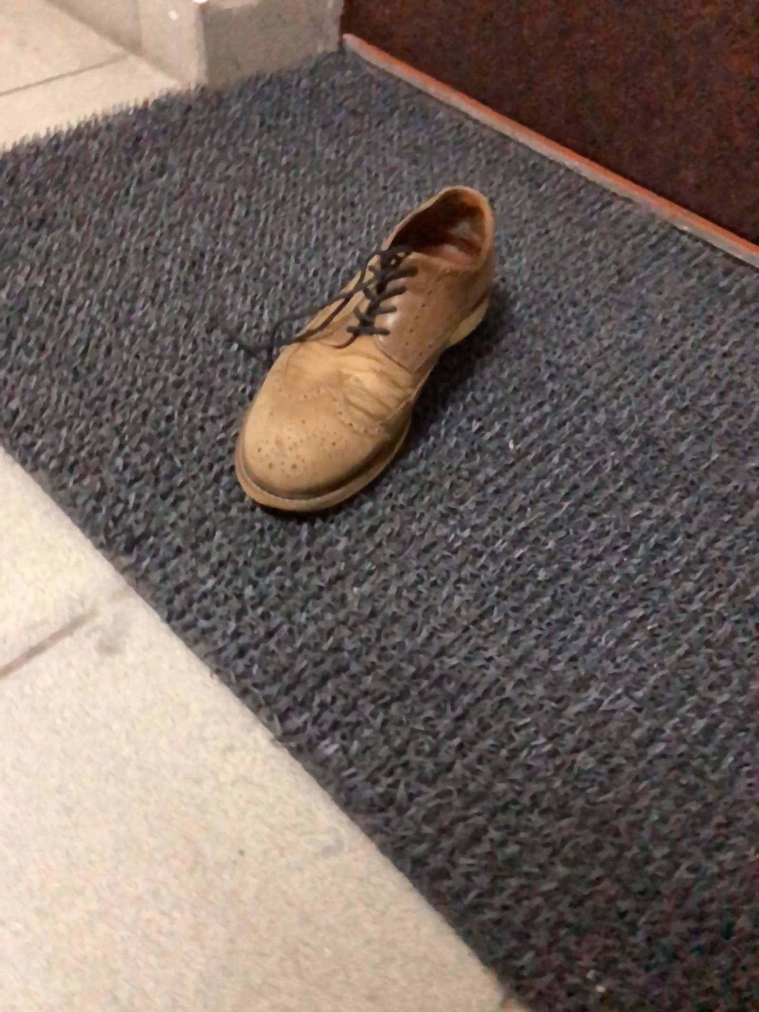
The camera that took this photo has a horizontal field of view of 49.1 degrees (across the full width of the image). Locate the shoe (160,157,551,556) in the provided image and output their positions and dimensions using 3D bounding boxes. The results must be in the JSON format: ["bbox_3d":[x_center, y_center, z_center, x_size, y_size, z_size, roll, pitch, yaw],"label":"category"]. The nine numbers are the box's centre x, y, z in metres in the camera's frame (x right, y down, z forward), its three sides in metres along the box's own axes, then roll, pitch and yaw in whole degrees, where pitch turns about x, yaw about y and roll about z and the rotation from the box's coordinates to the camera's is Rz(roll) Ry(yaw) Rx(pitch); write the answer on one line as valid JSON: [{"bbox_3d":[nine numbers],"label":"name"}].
[{"bbox_3d":[-0.003,-0.120,0.577,0.110,0.099,0.302,28,52,16],"label":"shoe"}]
